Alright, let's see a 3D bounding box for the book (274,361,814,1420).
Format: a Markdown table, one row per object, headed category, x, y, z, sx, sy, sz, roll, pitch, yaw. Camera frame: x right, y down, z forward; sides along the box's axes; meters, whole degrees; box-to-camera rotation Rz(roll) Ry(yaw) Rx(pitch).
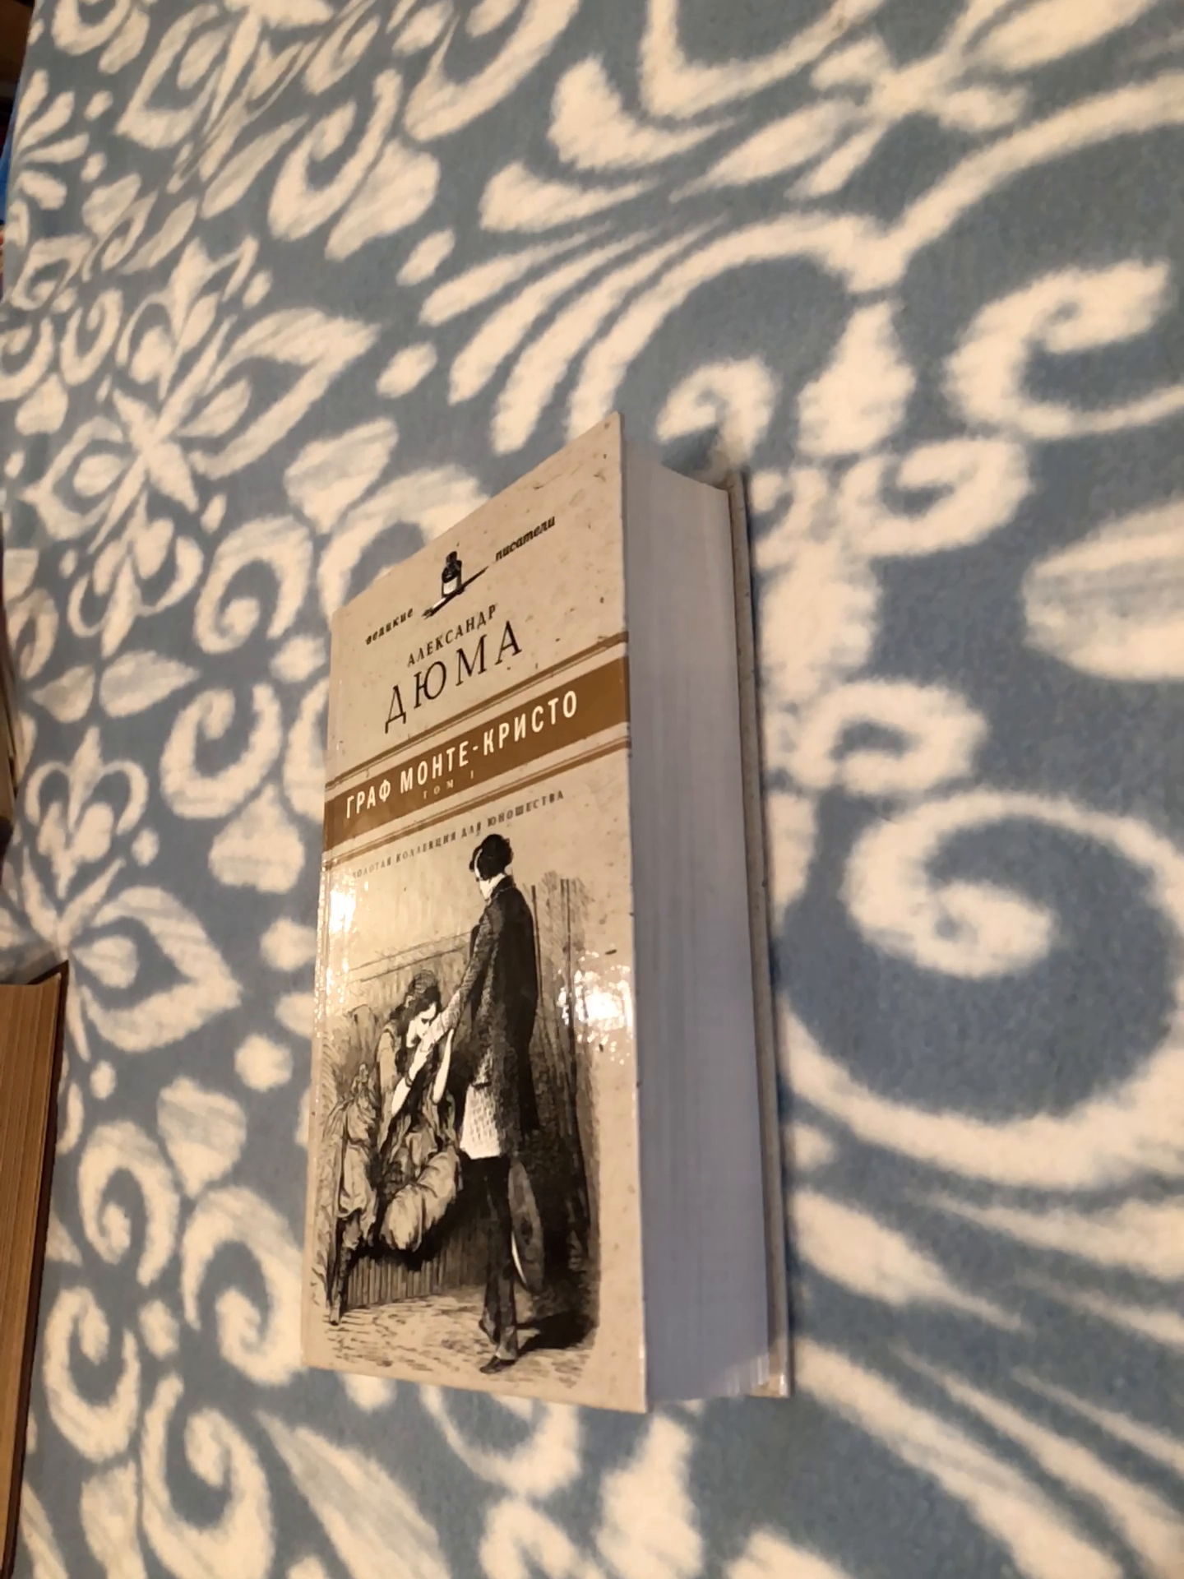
| category | x | y | z | sx | sy | sz | roll | pitch | yaw |
| --- | --- | --- | --- | --- | --- | --- | --- | --- | --- |
| book | -0.020 | 0.027 | 0.316 | 0.138 | 0.040 | 0.212 | -22 | 62 | 46 |
